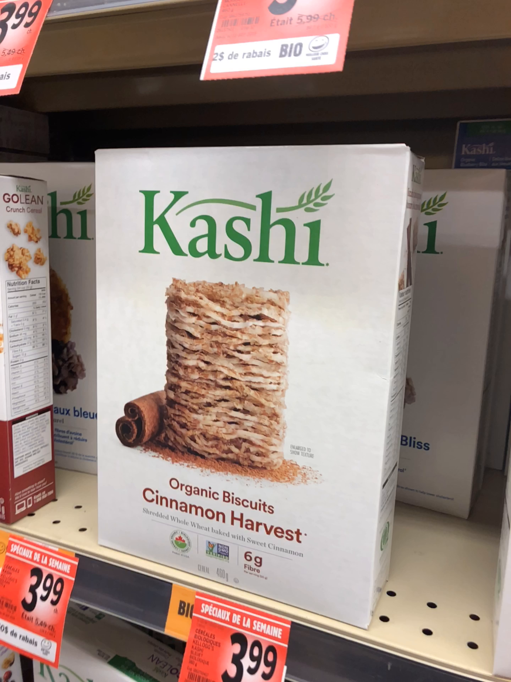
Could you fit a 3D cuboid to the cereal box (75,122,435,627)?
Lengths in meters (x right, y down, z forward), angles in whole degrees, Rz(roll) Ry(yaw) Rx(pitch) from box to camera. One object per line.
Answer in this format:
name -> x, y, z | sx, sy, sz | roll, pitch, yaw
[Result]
cereal box -> -0.006, 0.011, 0.361 | 0.200, 0.269, 0.070 | 7, 14, 24
